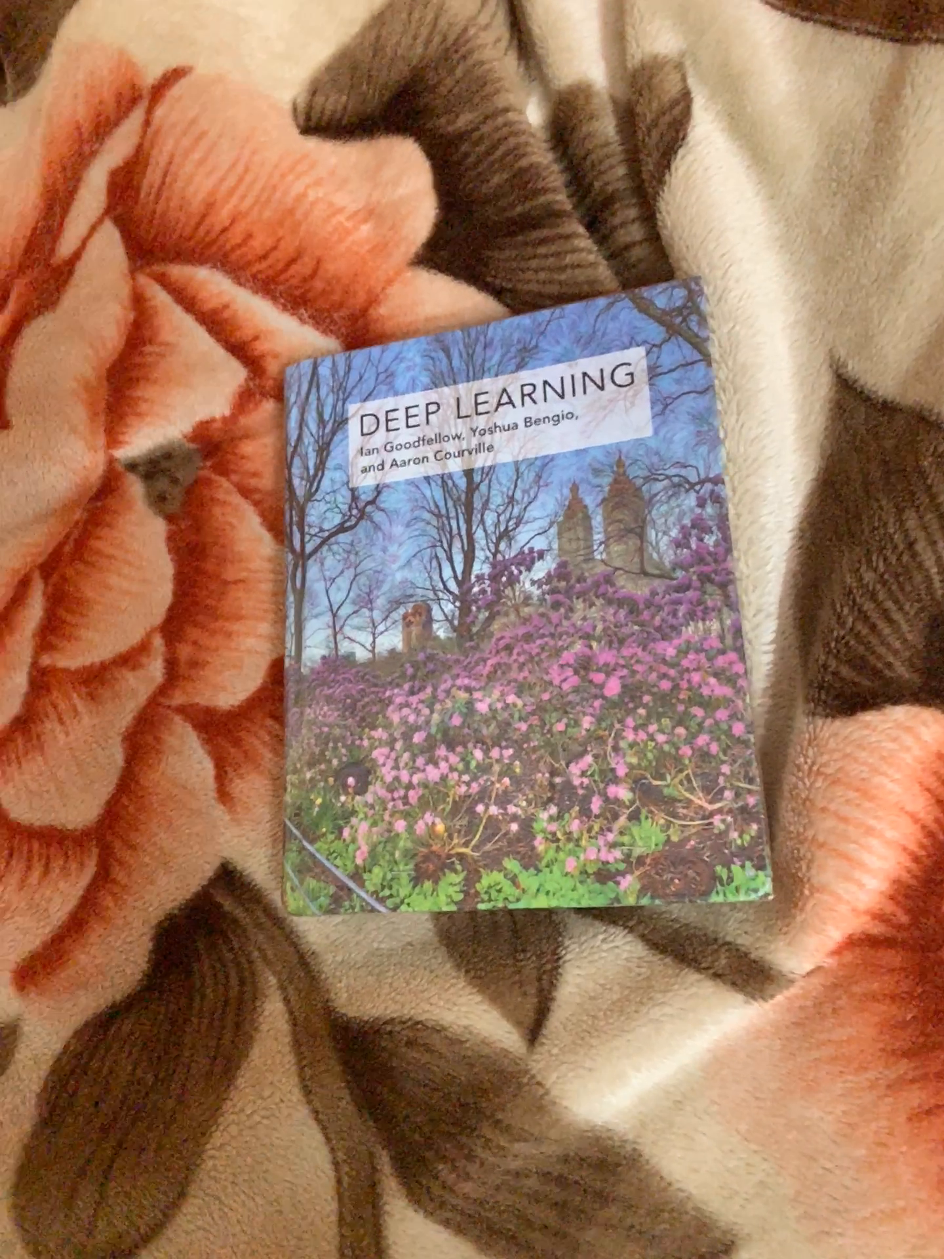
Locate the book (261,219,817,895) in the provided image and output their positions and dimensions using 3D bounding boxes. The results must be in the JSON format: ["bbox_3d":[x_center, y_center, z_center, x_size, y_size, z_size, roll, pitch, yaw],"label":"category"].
[{"bbox_3d":[0.016,-0.028,0.407,0.210,0.030,0.260,-6,74,15],"label":"book"}]
